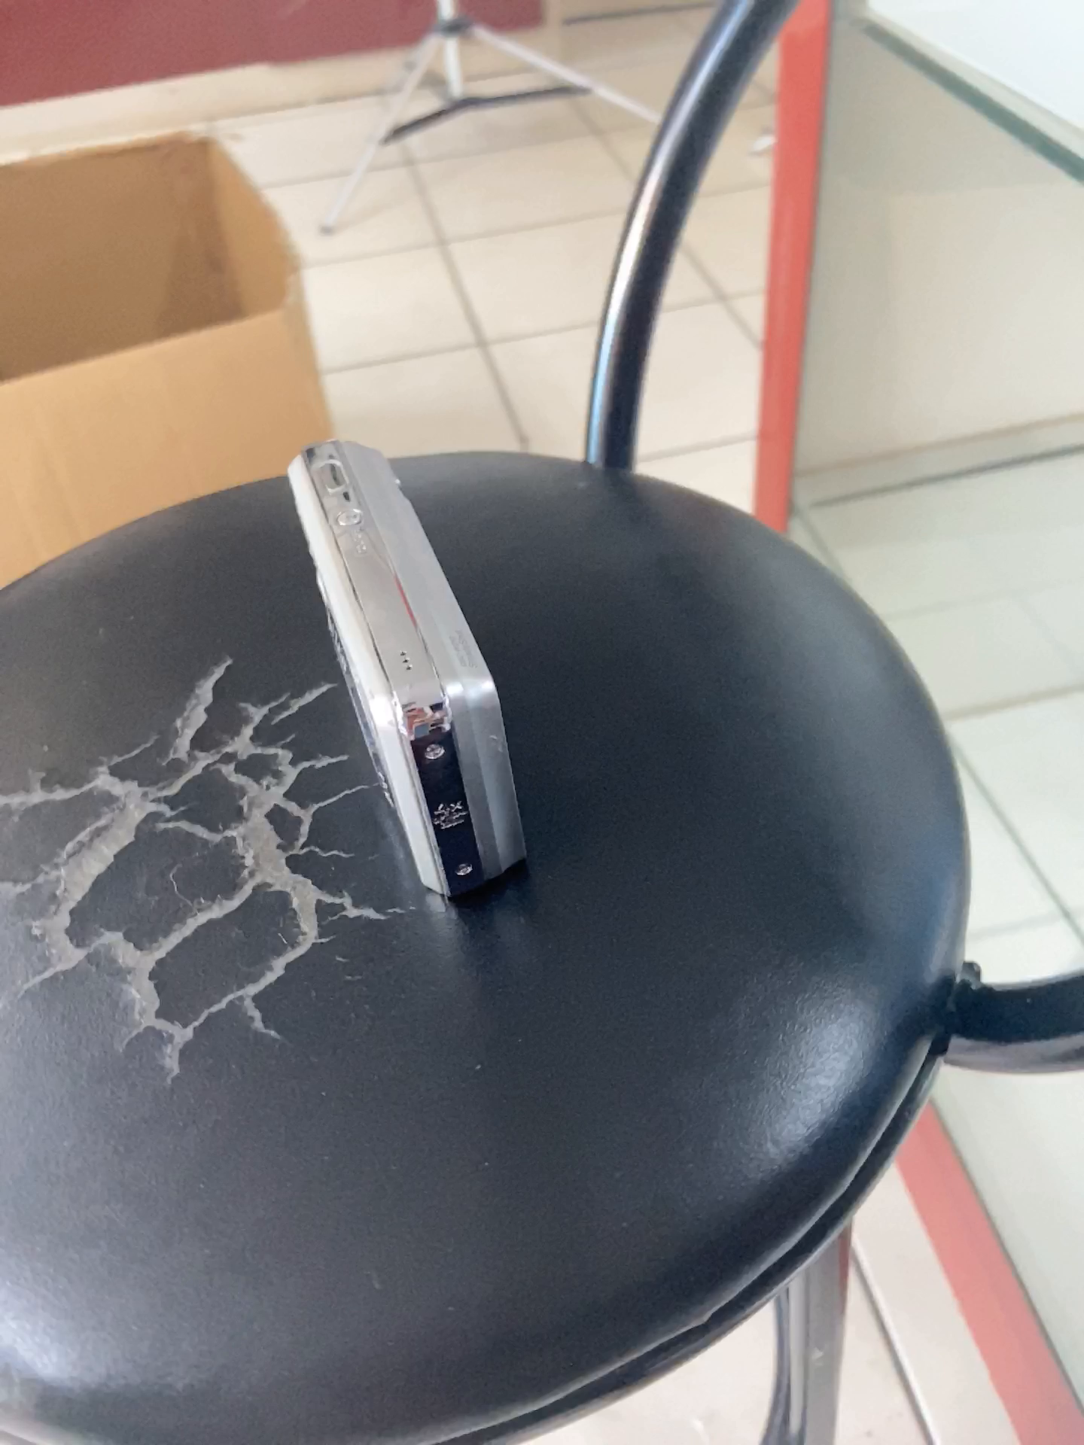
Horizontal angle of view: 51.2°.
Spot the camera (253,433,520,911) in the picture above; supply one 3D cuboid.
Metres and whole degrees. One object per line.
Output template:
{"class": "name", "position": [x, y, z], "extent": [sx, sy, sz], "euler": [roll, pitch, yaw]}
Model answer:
{"class": "camera", "position": [-0.034, -0.014, 0.232], "extent": [0.026, 0.044, 0.093], "euler": [-17, 46, -10]}
